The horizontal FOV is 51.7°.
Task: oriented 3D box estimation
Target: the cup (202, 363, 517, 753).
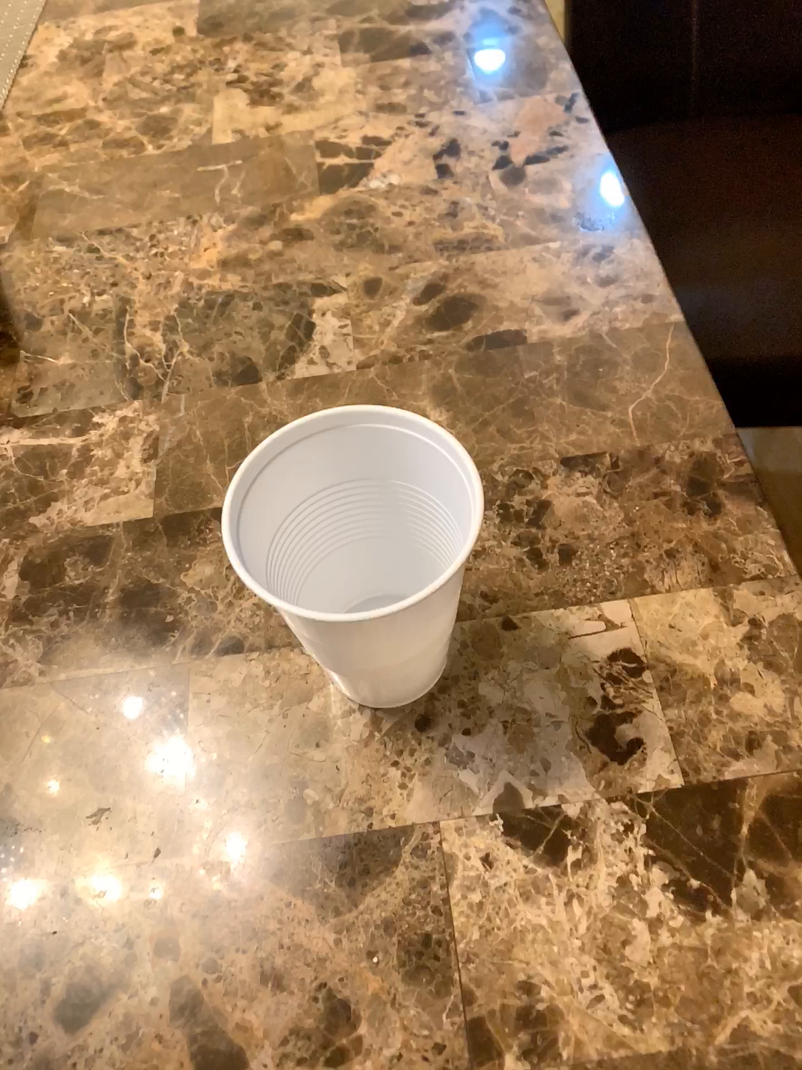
[{"bbox_3d":[-0.012,0.010,0.278,0.077,0.084,0.082,-4,55,5],"label":"cup"}]
